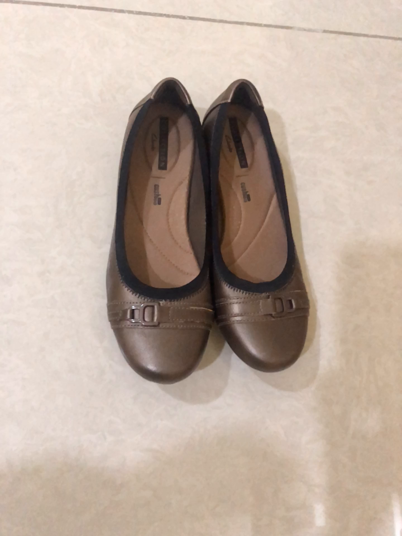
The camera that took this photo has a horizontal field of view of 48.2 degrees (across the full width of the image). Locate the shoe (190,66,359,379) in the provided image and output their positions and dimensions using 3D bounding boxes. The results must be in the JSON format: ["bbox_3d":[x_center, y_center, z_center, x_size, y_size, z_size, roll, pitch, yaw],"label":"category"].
[{"bbox_3d":[0.055,-0.041,0.398,0.090,0.070,0.260,-5,78,-12],"label":"shoe"}]

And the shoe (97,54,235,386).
[{"bbox_3d":[-0.030,-0.041,0.379,0.100,0.050,0.270,2,77,-11],"label":"shoe"}]
